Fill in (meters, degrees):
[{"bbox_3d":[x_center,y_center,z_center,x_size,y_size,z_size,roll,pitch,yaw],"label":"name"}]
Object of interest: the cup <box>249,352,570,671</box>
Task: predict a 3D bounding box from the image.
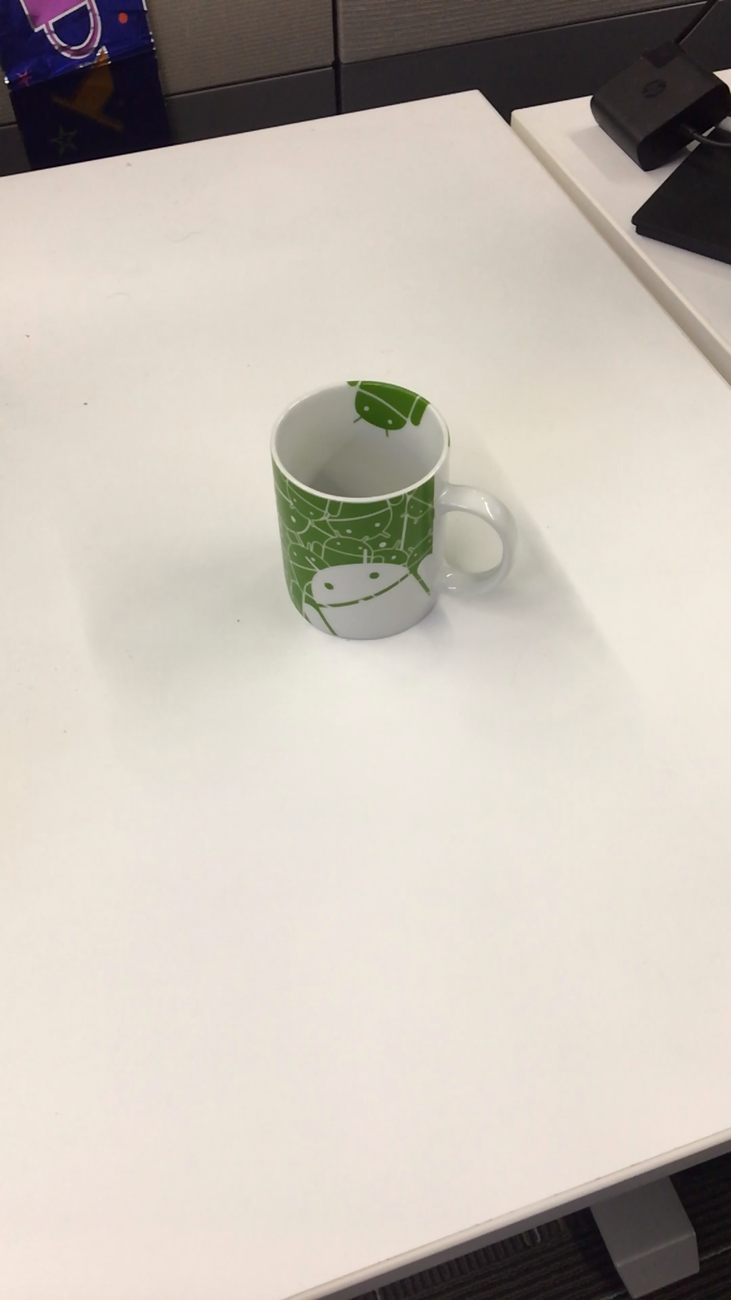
[{"bbox_3d":[0.022,-0.066,0.511,0.120,0.090,0.090,14,54,12],"label":"cup"}]
